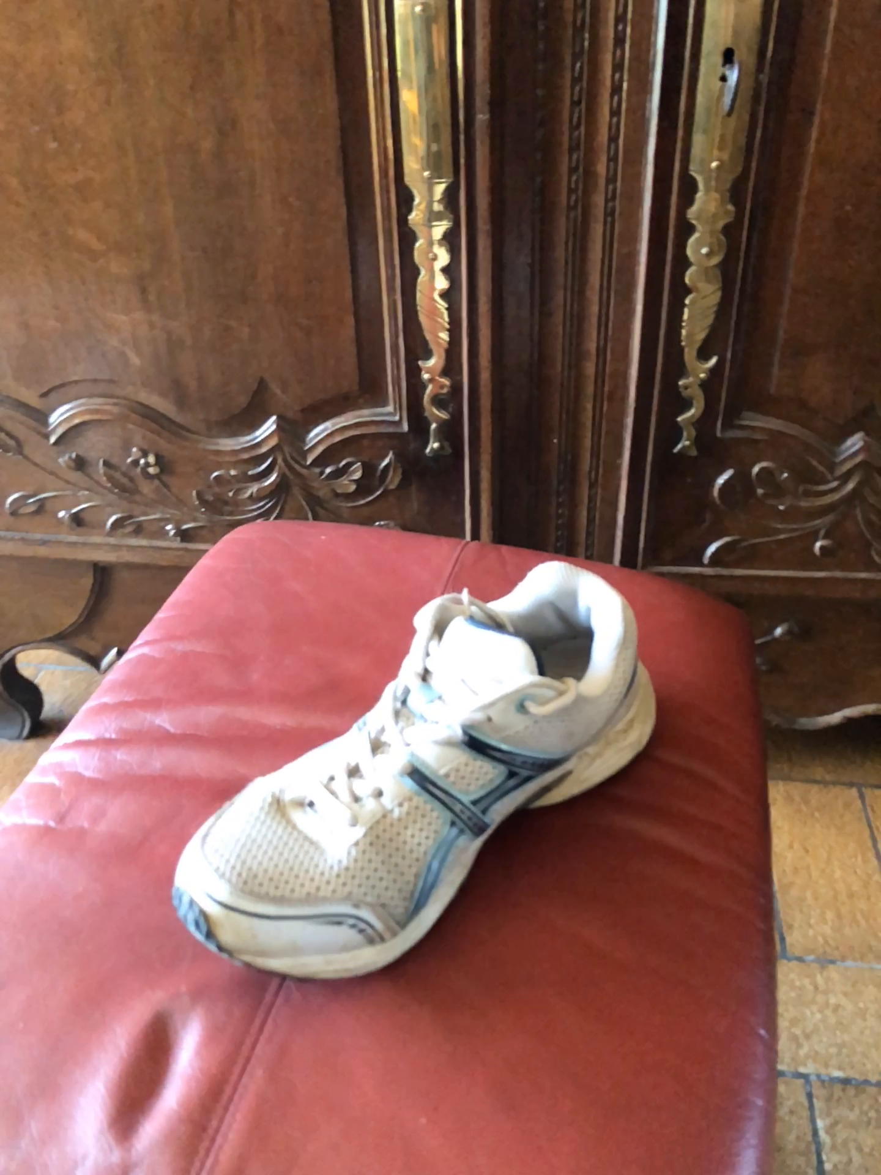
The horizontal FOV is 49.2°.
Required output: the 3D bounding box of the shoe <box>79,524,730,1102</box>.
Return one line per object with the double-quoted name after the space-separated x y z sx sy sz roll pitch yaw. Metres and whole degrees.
-0.002 0.077 0.442 0.271 0.080 0.120 -29 43 -32 "shoe"
